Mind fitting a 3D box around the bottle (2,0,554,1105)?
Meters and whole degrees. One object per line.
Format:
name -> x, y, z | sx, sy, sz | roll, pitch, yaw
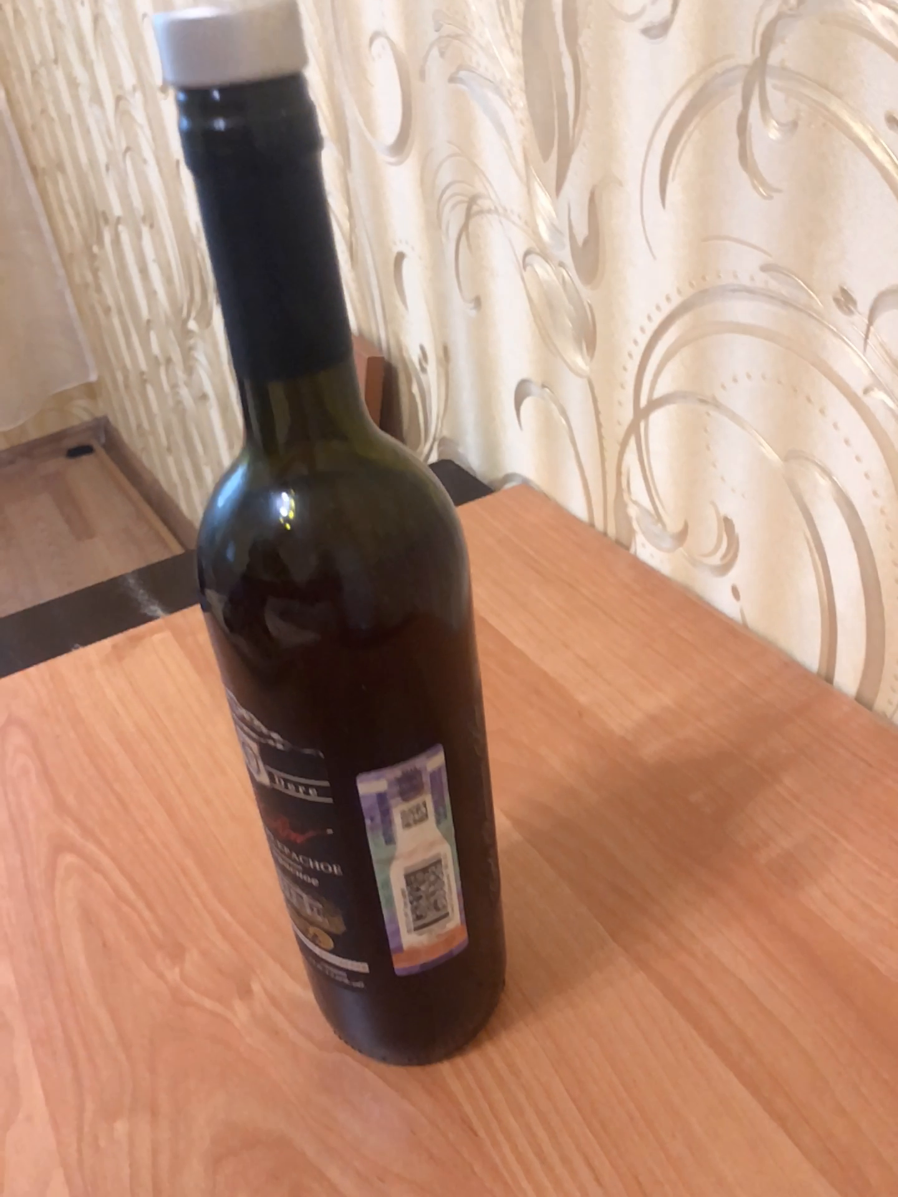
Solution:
bottle -> -0.030, 0.006, 0.288 | 0.073, 0.321, 0.084 | -21, 36, -19
